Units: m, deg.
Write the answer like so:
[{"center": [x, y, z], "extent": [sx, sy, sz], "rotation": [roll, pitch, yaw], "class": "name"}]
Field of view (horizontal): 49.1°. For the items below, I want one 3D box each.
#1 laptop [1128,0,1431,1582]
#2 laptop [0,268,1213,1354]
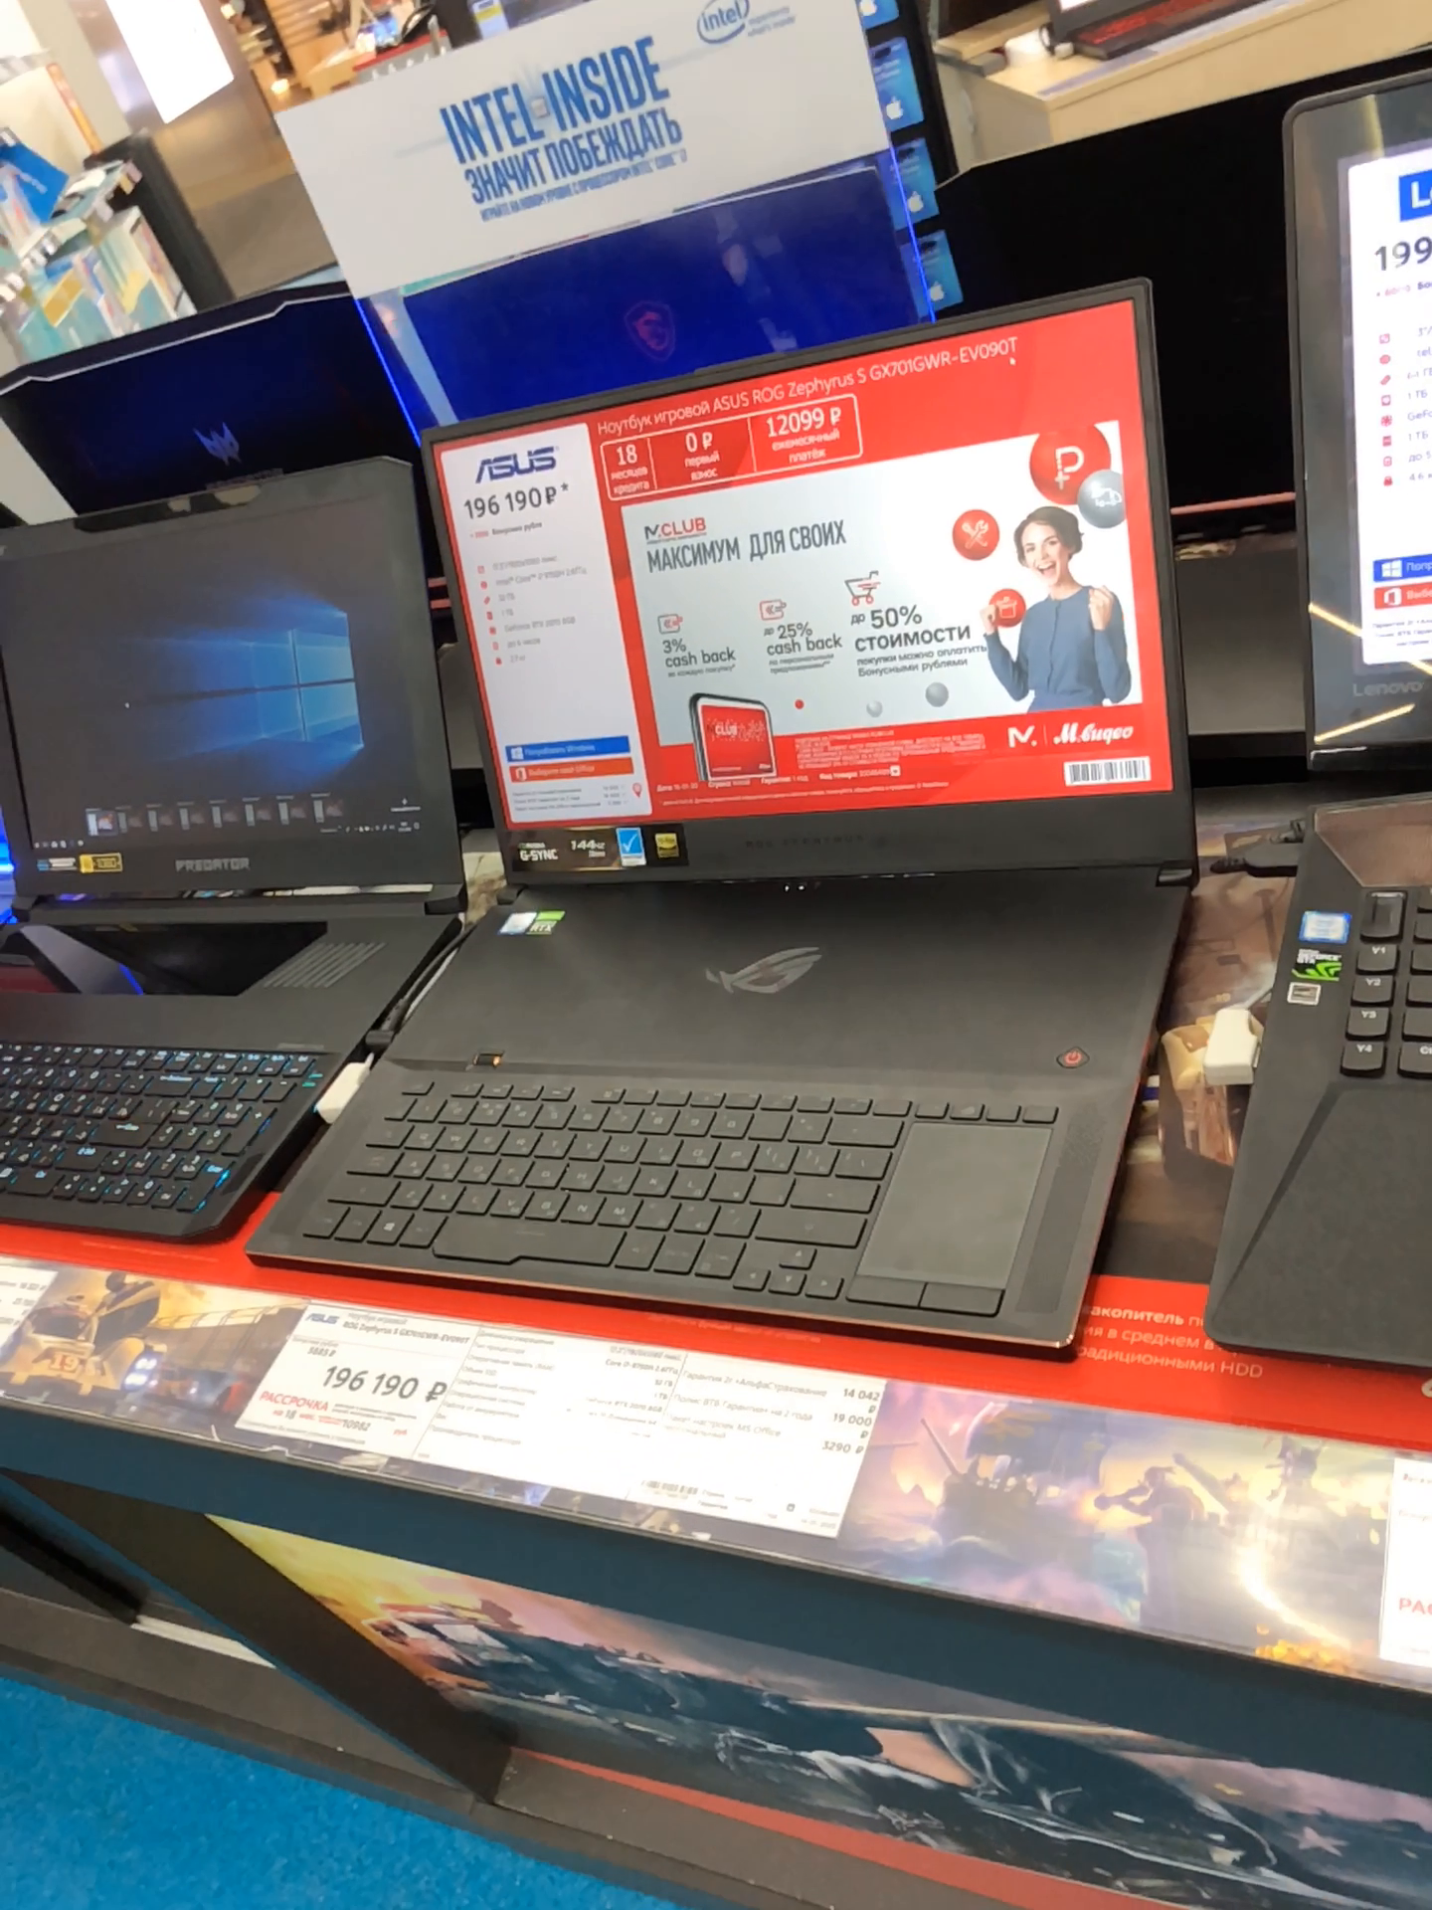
[{"center": [0.368, -0.112, 0.469], "extent": [0.375, 0.248, 0.413], "rotation": [-1, 40, 32], "class": "laptop"}, {"center": [-0.022, -0.076, 0.703], "extent": [0.391, 0.240, 0.379], "rotation": [-1, 40, 28], "class": "laptop"}]
